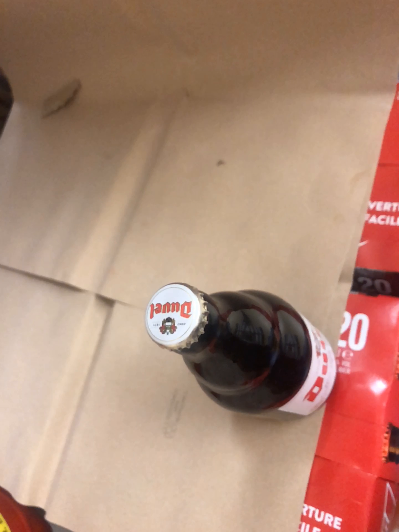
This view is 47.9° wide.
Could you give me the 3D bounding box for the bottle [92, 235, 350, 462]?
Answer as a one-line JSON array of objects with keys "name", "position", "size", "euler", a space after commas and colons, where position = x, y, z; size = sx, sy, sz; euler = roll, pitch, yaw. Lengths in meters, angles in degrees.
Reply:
[{"name": "bottle", "position": [0.027, 0.053, 0.247], "size": [0.070, 0.170, 0.080], "euler": [-9, 71, 26]}]
